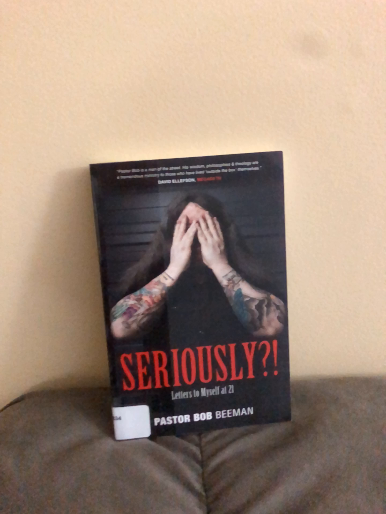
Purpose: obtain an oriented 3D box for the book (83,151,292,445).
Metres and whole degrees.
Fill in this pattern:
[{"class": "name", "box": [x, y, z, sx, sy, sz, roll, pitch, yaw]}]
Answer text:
[{"class": "book", "box": [0.000, 0.031, 0.319, 0.136, 0.205, 0.023, -5, 9, -5]}]
